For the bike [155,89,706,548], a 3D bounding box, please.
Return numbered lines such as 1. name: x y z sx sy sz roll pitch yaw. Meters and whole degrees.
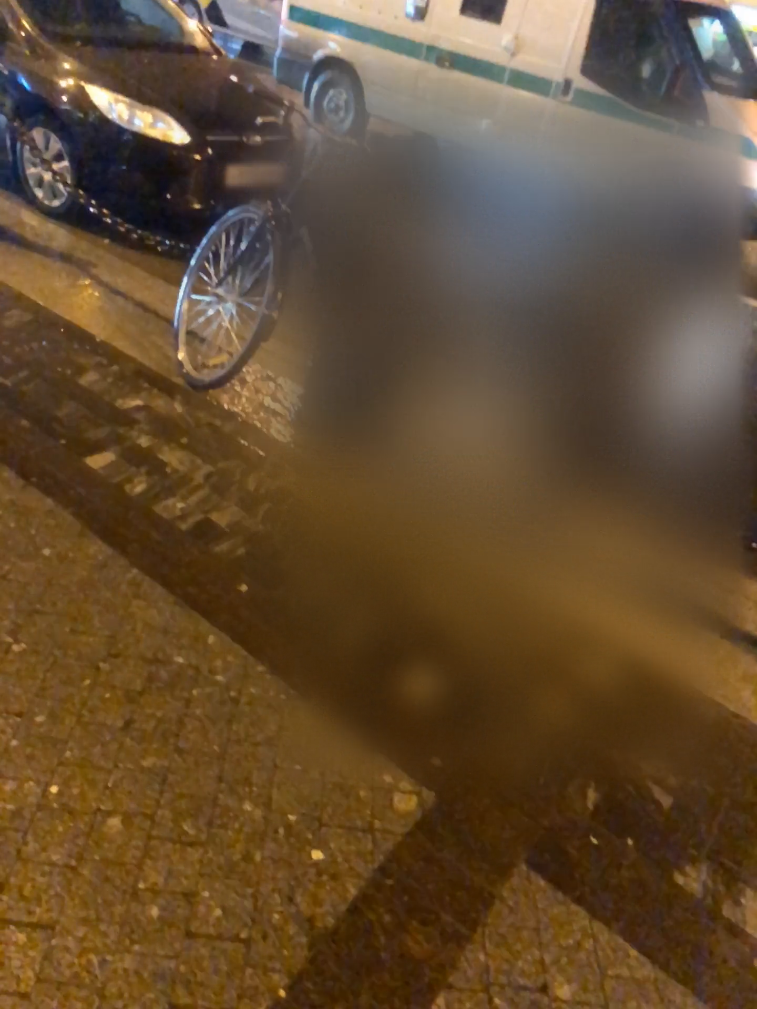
1. bike: 0.010 -0.732 2.822 1.753 0.961 0.554 30 34 32
